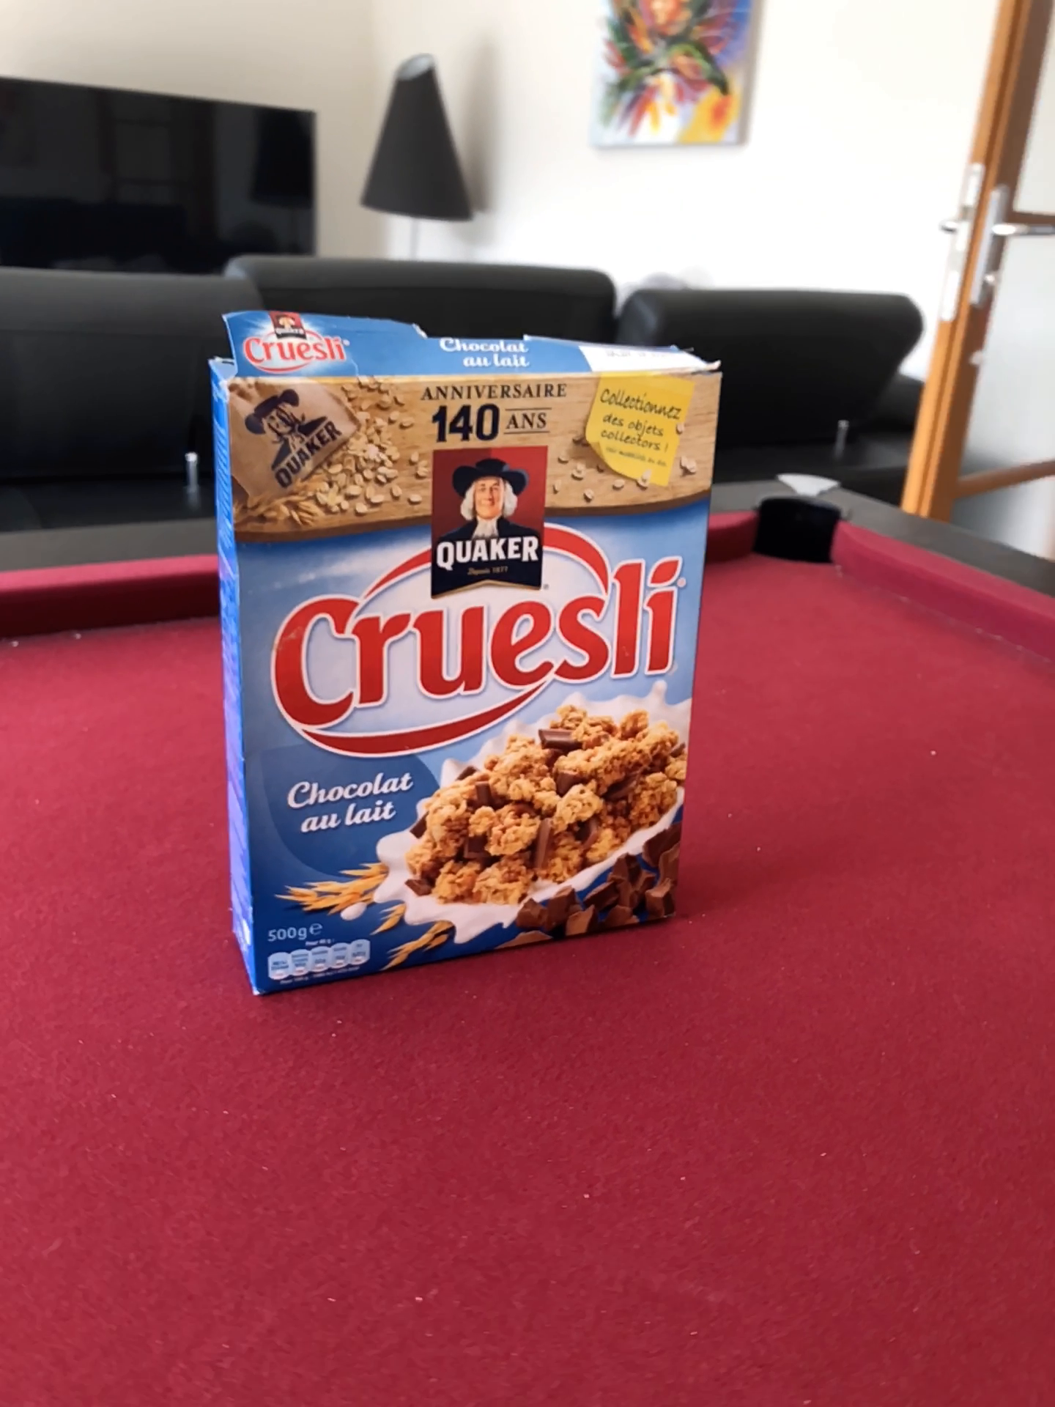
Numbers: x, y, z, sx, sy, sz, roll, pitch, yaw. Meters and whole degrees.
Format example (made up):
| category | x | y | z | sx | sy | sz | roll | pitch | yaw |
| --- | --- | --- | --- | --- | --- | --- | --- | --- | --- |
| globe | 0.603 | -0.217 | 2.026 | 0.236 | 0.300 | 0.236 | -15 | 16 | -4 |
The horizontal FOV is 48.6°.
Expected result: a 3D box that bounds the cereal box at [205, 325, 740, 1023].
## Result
| category | x | y | z | sx | sy | sz | roll | pitch | yaw |
| --- | --- | --- | --- | --- | --- | --- | --- | --- | --- |
| cereal box | -0.024 | -0.013 | 0.474 | 0.191 | 0.259 | 0.050 | -7 | 25 | -25 |
